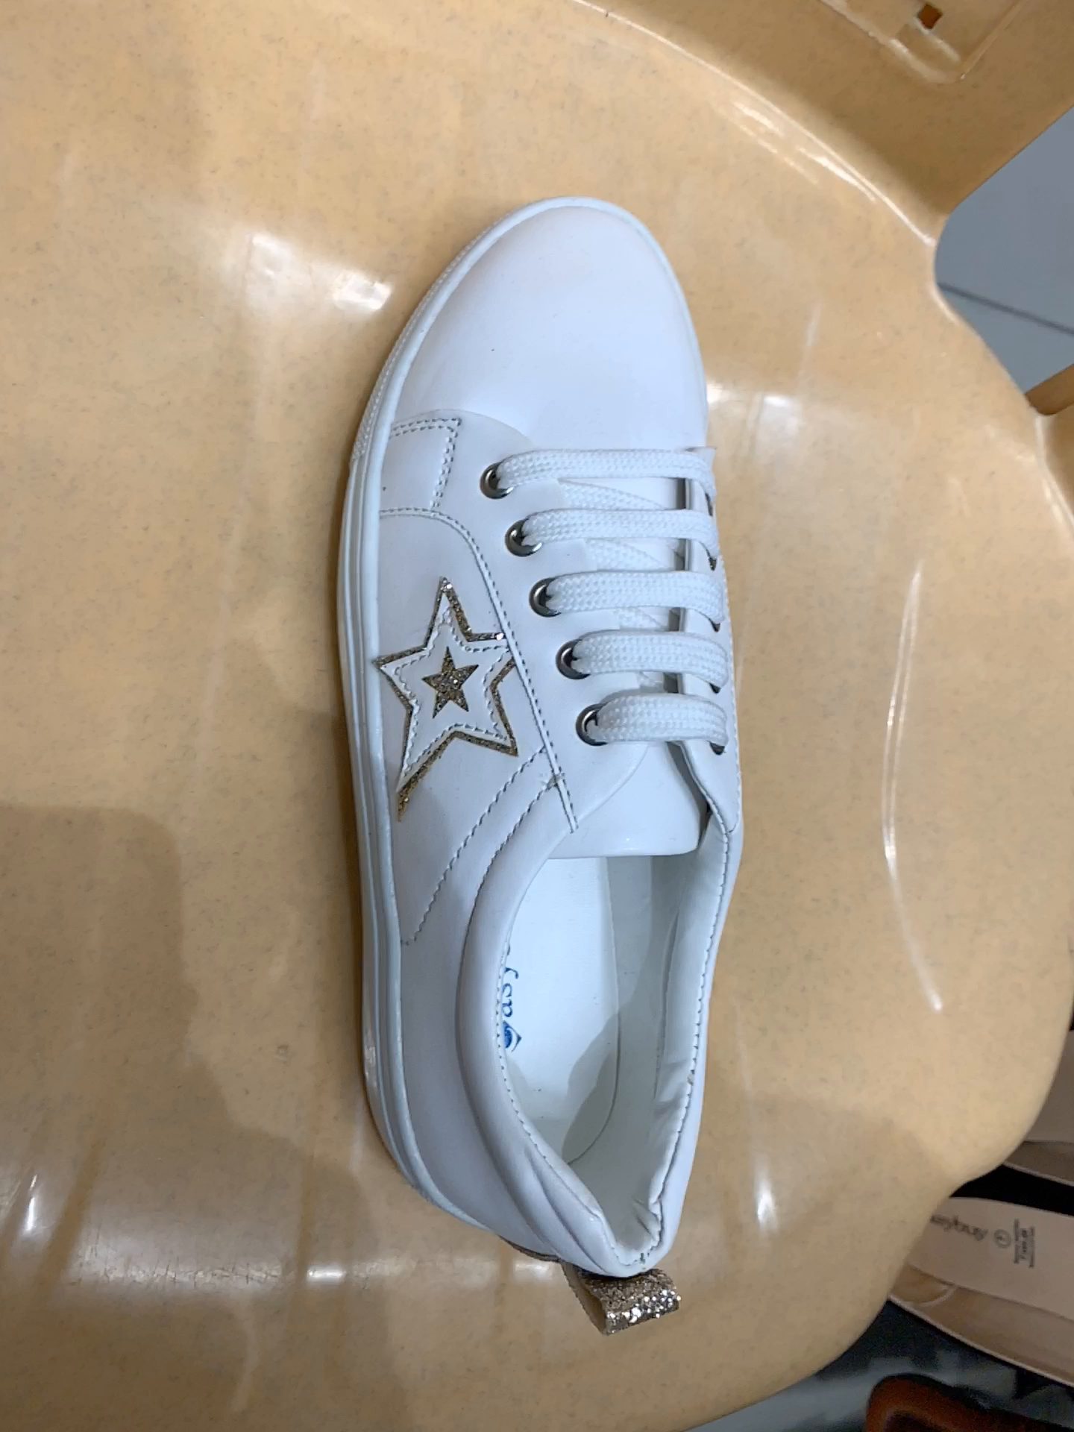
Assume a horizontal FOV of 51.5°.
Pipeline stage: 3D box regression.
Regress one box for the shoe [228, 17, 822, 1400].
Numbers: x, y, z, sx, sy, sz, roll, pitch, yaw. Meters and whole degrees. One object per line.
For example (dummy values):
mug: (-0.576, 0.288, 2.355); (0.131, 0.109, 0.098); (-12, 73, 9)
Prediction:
shoe: (-0.009, 0.001, 0.251); (0.090, 0.090, 0.240); (5, 90, -21)
